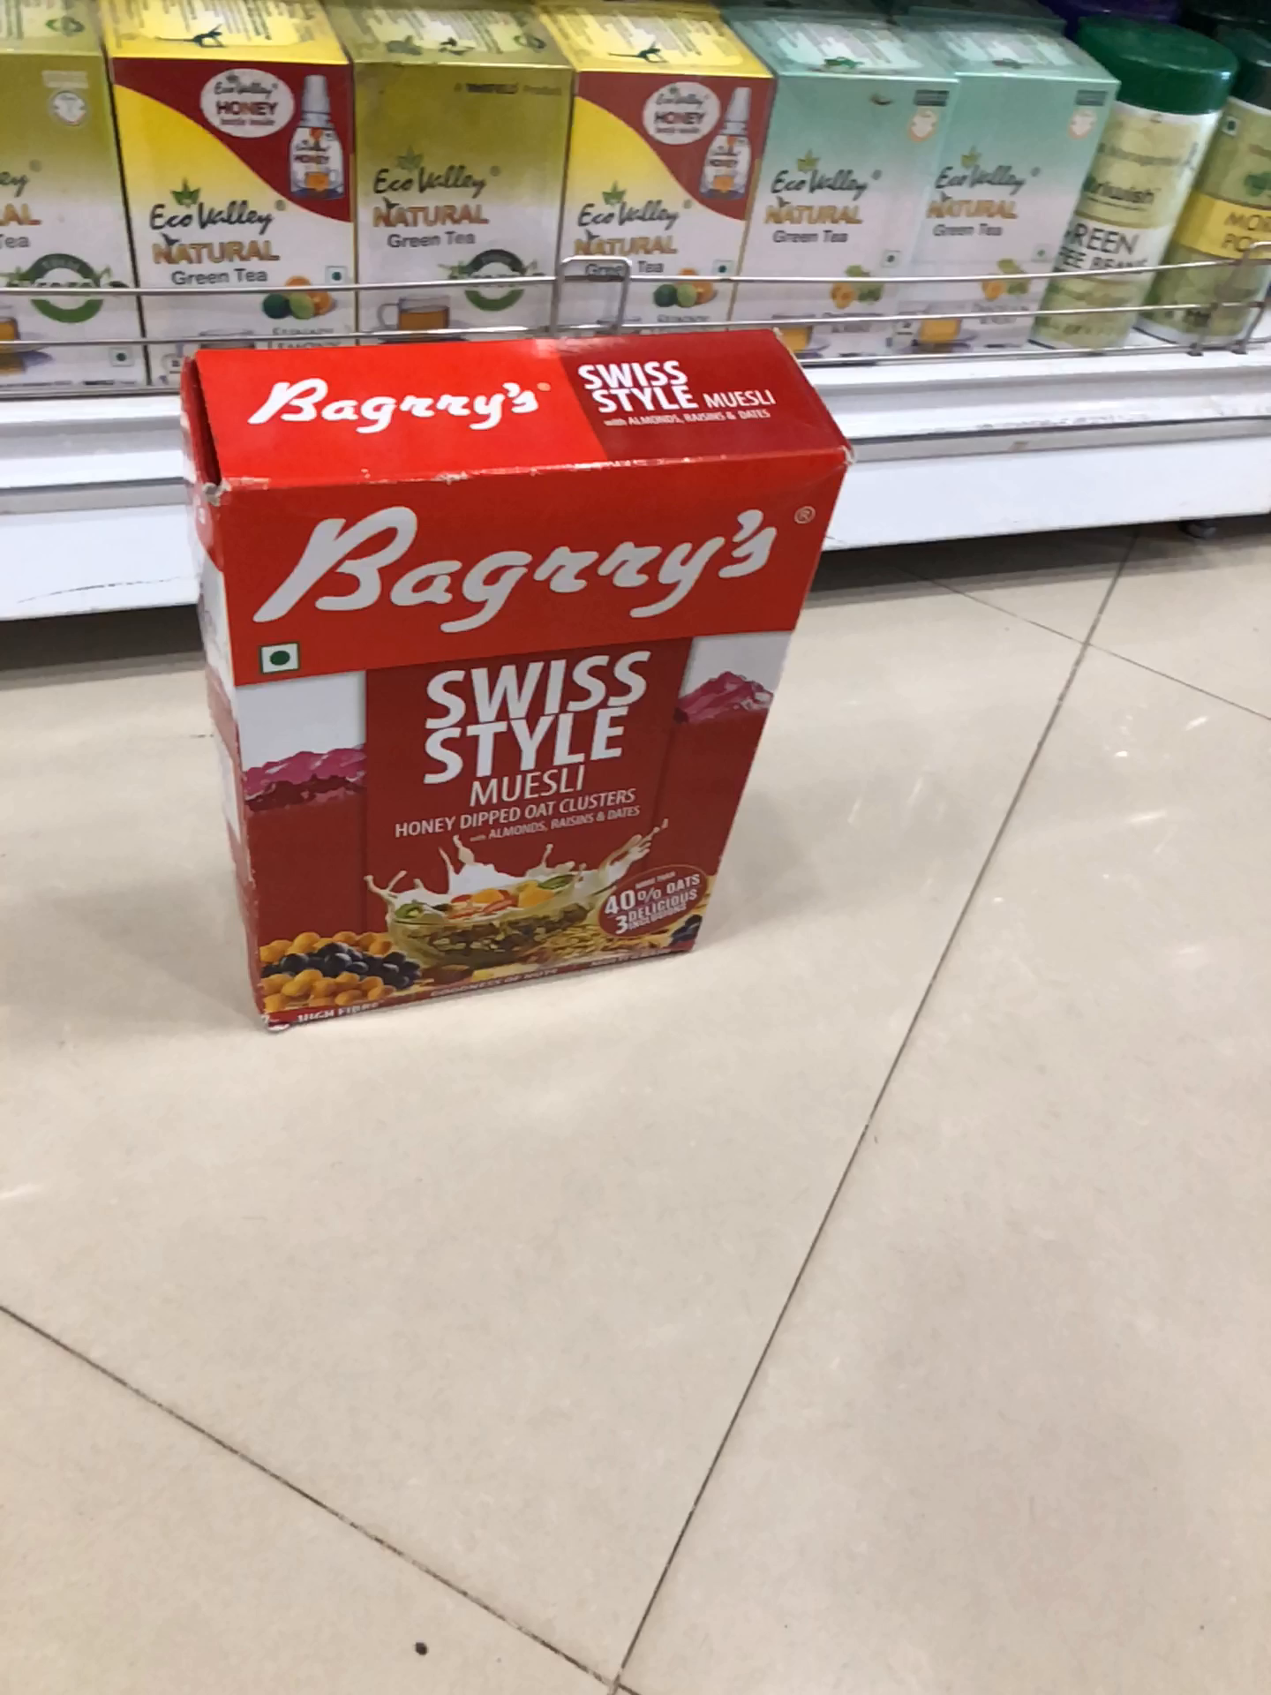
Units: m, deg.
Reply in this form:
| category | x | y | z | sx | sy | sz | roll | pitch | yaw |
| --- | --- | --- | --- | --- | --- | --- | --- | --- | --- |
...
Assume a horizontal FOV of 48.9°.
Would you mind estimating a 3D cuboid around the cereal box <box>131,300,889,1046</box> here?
| category | x | y | z | sx | sy | sz | roll | pitch | yaw |
| --- | --- | --- | --- | --- | --- | --- | --- | --- | --- |
| cereal box | -0.051 | -0.051 | 0.488 | 0.200 | 0.248 | 0.080 | -9 | 52 | -18 |
